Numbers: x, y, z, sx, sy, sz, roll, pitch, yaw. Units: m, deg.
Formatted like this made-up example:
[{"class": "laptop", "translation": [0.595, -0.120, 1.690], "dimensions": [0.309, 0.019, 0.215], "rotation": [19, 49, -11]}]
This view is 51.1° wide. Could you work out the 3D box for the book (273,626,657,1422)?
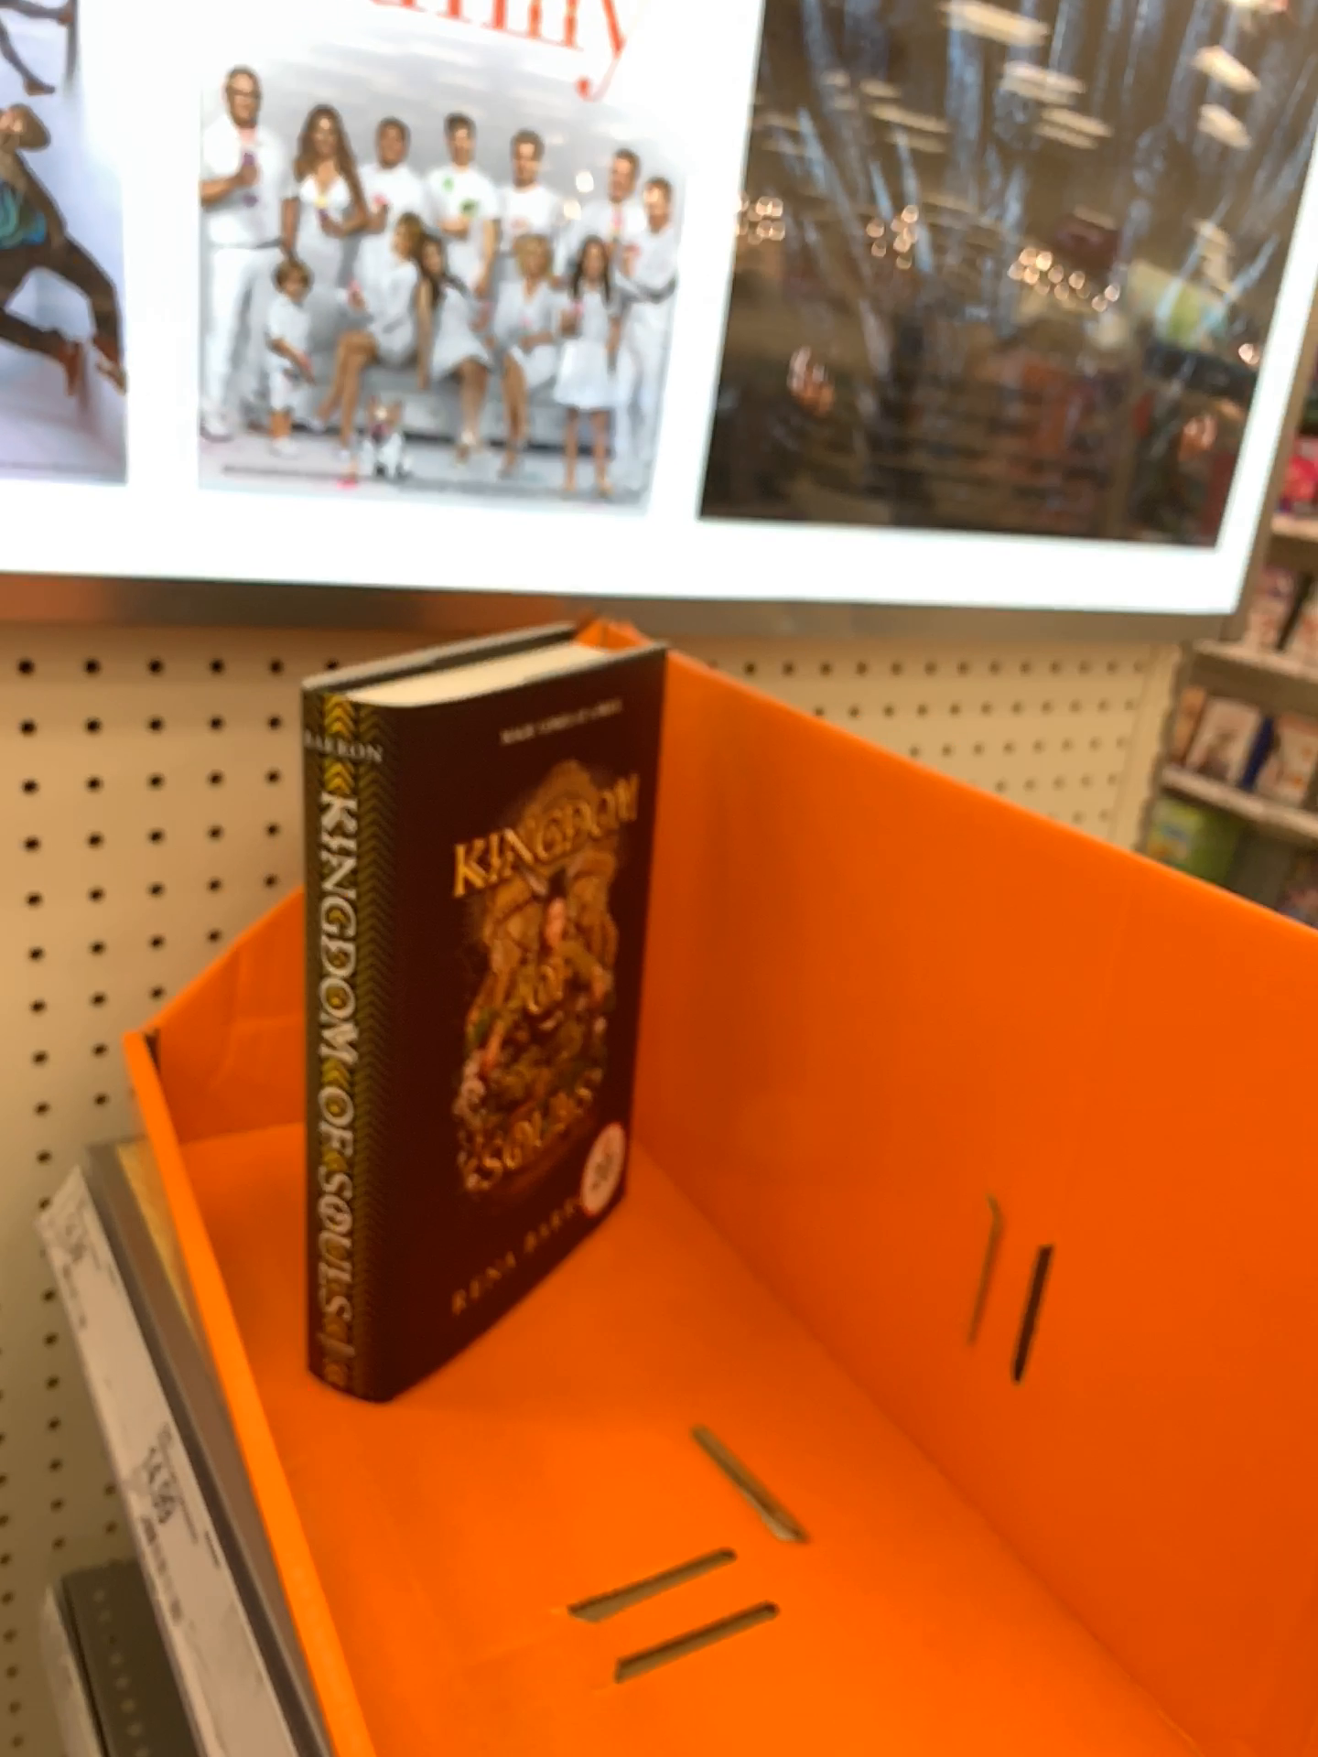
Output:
[{"class": "book", "translation": [-0.063, 0.041, 0.494], "dimensions": [0.040, 0.240, 0.161], "rotation": [13, 20, 26]}]
